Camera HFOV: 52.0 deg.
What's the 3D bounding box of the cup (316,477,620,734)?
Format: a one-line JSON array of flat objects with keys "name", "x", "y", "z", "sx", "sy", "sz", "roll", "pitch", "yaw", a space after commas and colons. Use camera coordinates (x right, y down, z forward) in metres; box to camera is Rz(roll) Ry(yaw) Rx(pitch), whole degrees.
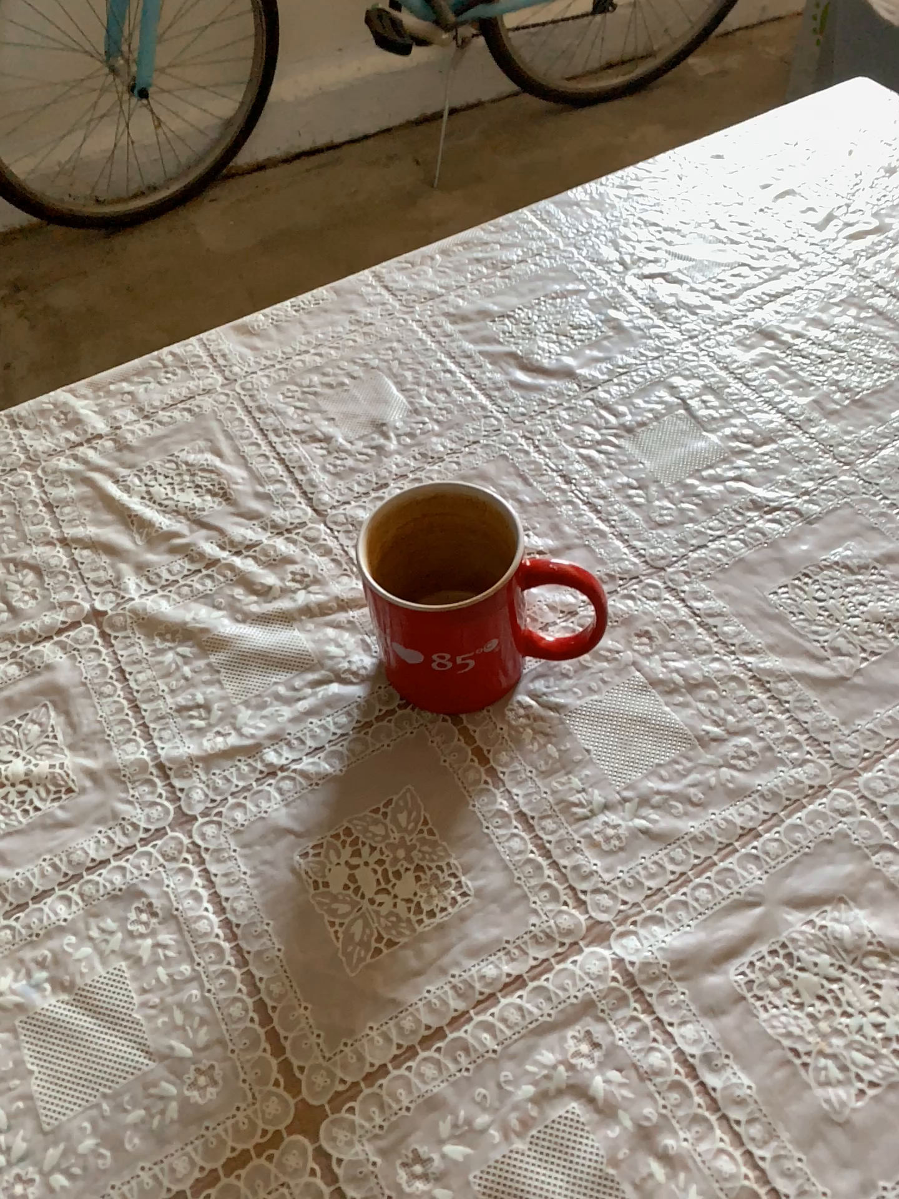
[{"name": "cup", "x": 0.012, "y": 0.005, "z": 0.456, "sx": 0.130, "sy": 0.090, "sz": 0.090, "roll": 0, "pitch": 54, "yaw": 5}]
